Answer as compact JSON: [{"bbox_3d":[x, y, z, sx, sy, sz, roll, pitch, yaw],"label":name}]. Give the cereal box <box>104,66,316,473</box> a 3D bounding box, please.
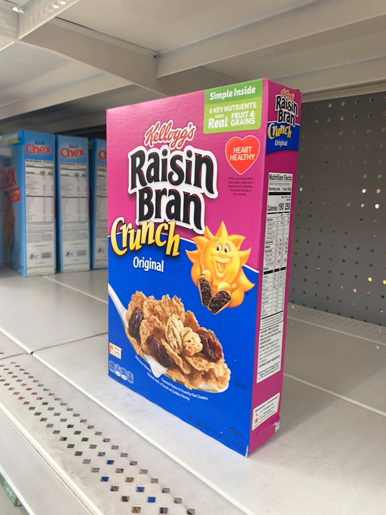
[{"bbox_3d":[-0.004,0.002,0.358,0.050,0.279,0.200,-7,12,-44],"label":"cereal box"}]
